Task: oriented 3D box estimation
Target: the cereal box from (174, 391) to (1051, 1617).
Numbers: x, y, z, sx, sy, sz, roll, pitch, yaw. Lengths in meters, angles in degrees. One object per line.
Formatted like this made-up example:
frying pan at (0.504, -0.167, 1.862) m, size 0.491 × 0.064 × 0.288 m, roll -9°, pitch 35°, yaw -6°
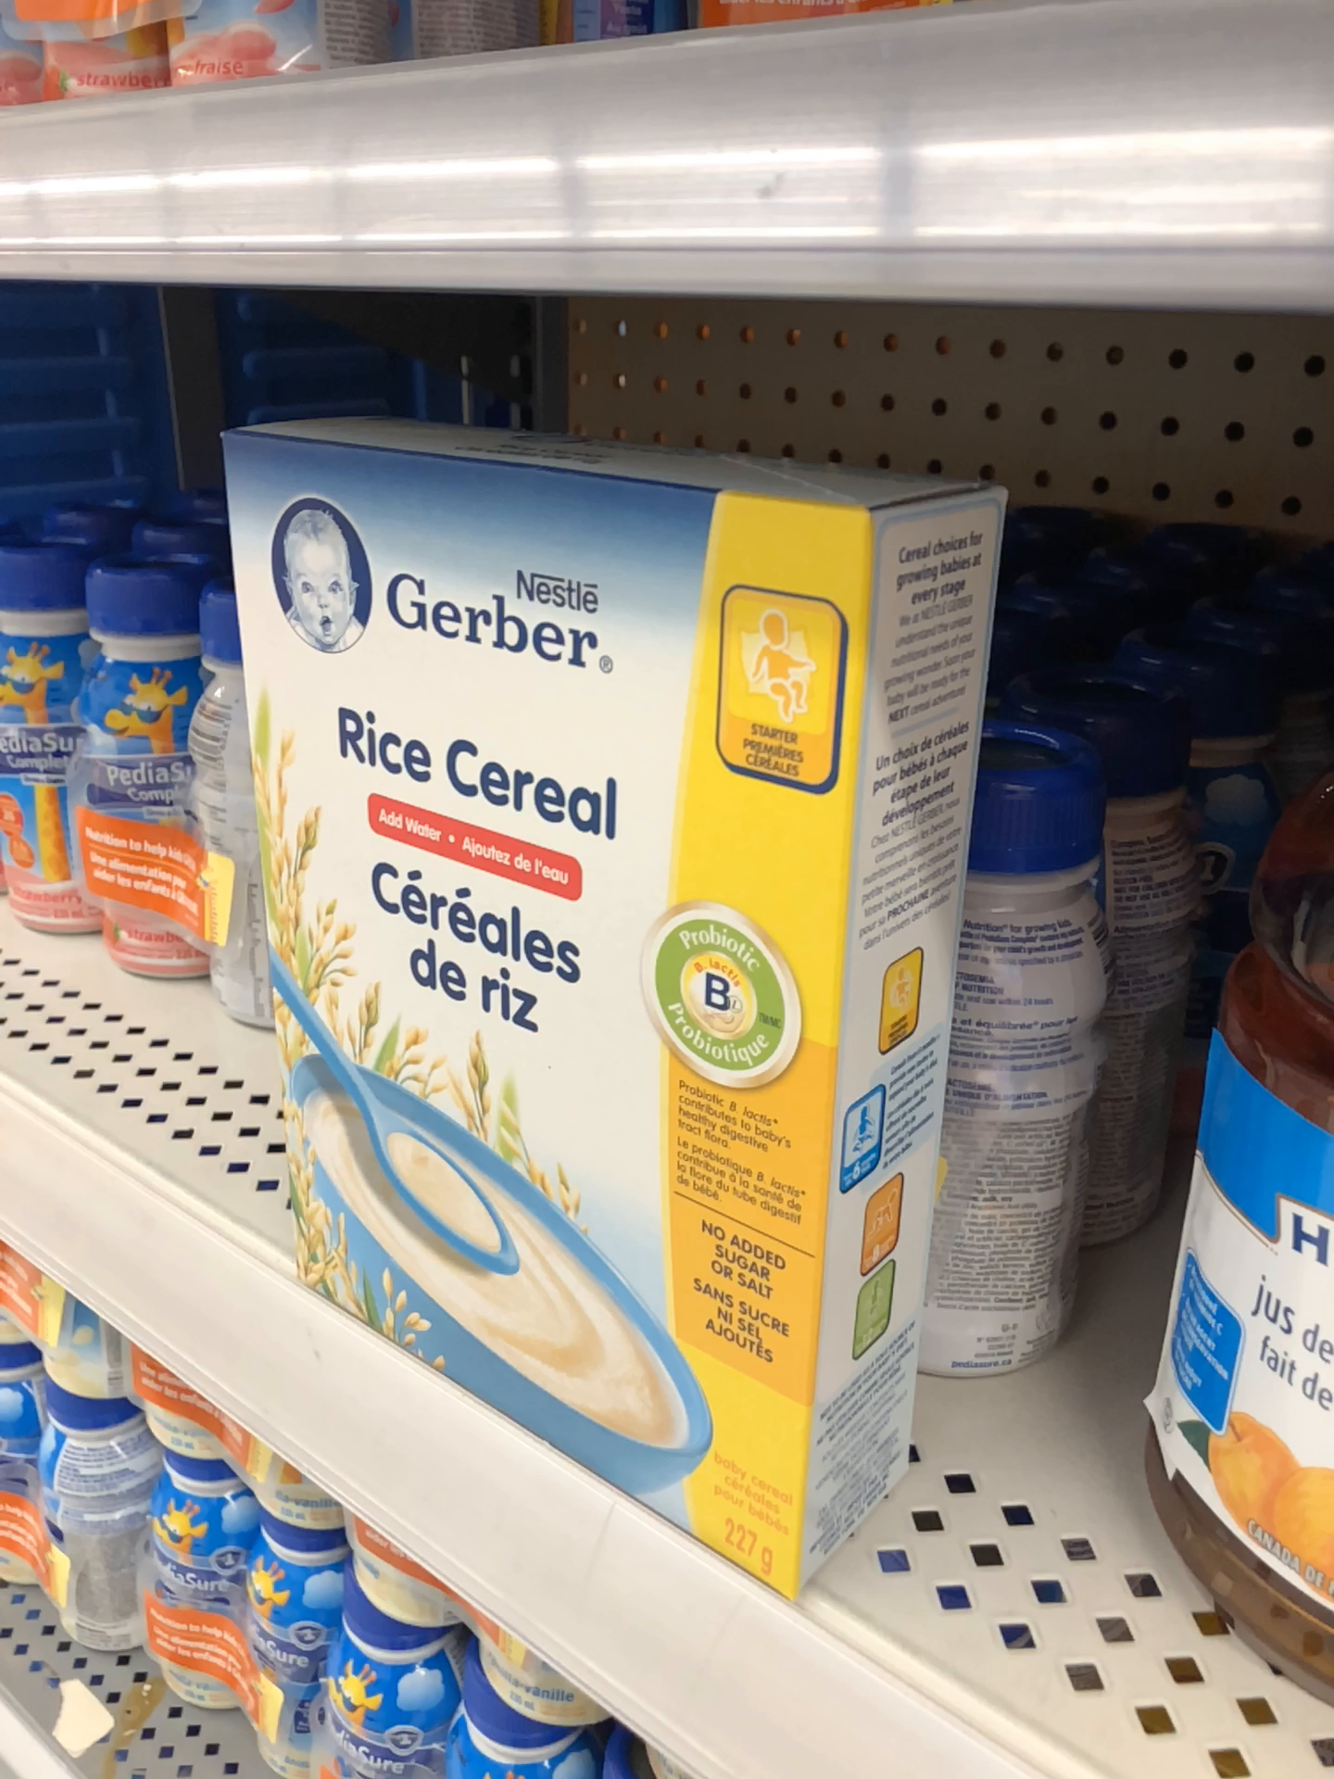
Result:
cereal box at (-0.018, 0.012, 0.296) m, size 0.150 × 0.199 × 0.060 m, roll 18°, pitch 28°, yaw 35°
